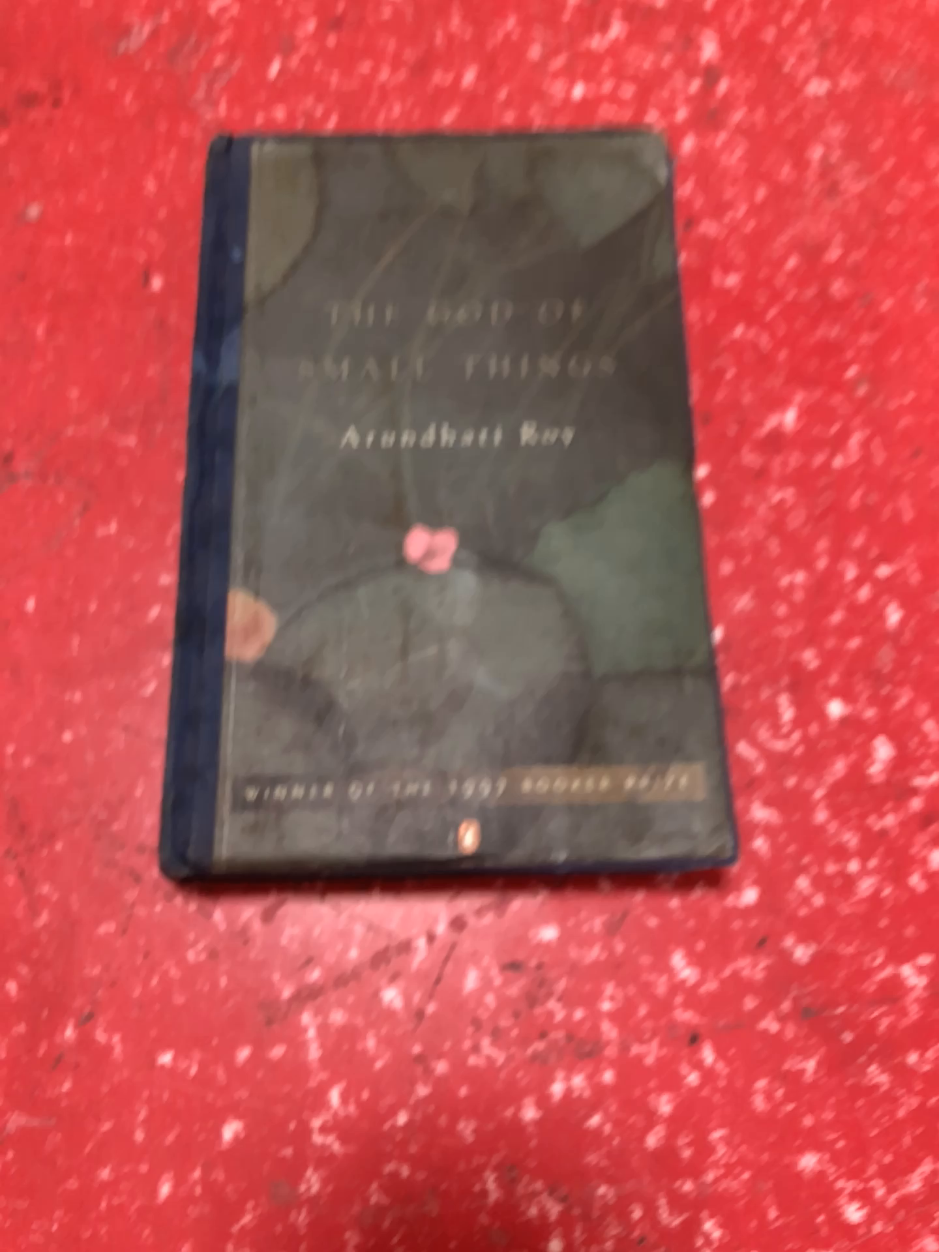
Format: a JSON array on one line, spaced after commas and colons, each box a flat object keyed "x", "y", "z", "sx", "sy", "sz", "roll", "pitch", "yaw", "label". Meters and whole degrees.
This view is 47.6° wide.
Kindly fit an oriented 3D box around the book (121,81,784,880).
[{"x": -0.005, "y": -0.045, "z": 0.293, "sx": 0.150, "sy": 0.040, "sz": 0.220, "roll": -1, "pitch": 72, "yaw": 1, "label": "book"}]
